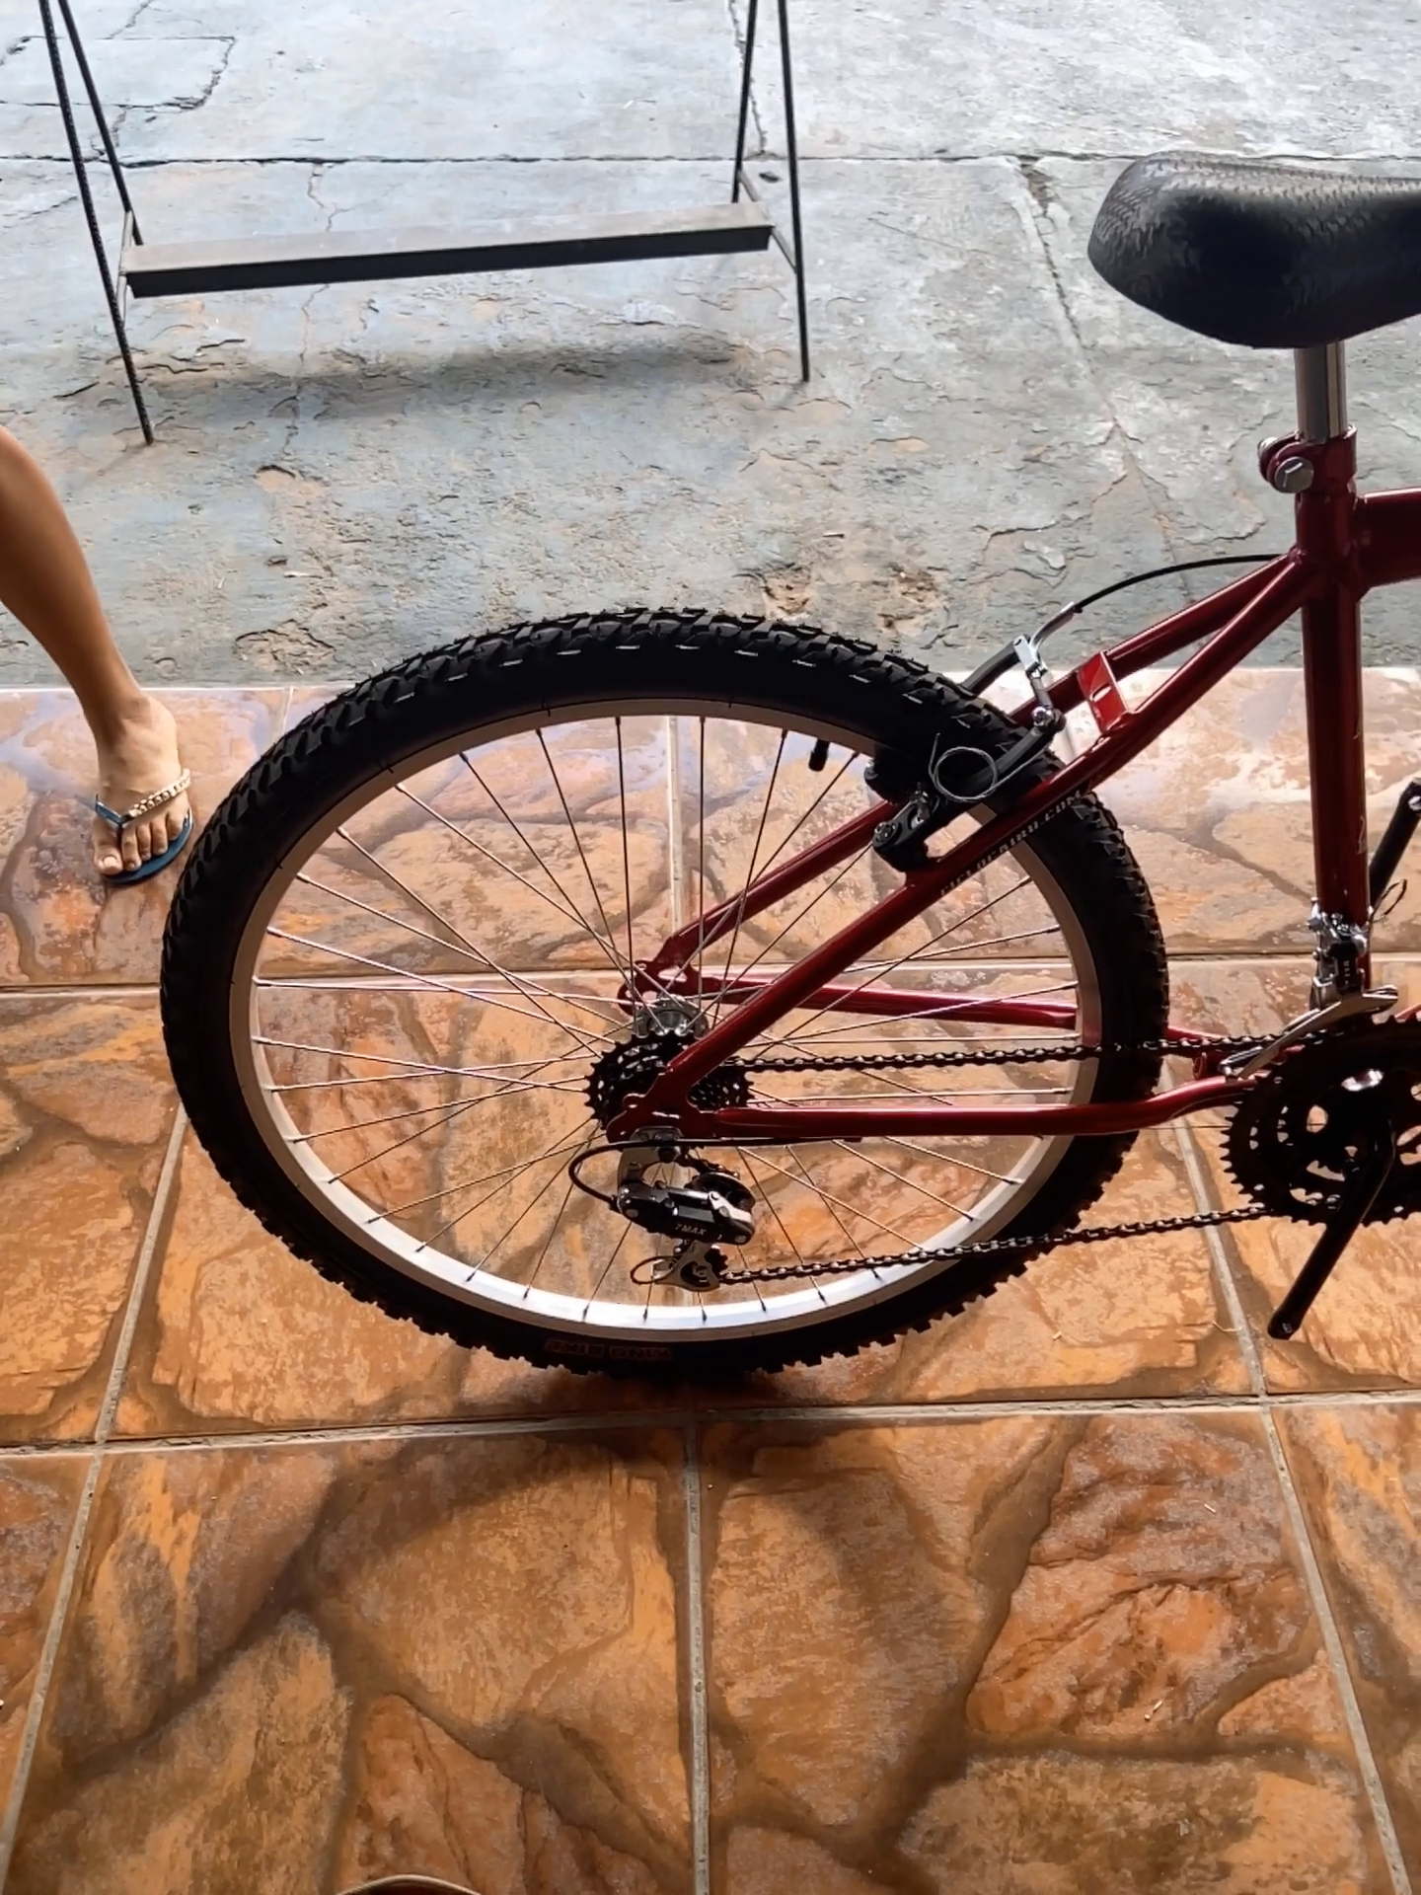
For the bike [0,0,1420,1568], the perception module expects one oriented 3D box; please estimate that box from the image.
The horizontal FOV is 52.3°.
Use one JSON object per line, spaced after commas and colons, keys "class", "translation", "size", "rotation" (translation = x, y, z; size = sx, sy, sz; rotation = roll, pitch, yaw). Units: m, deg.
{"class": "bike", "translation": [0.421, -0.175, 0.961], "size": [1.556, 0.986, 0.601], "rotation": [-5, 50, -7]}
